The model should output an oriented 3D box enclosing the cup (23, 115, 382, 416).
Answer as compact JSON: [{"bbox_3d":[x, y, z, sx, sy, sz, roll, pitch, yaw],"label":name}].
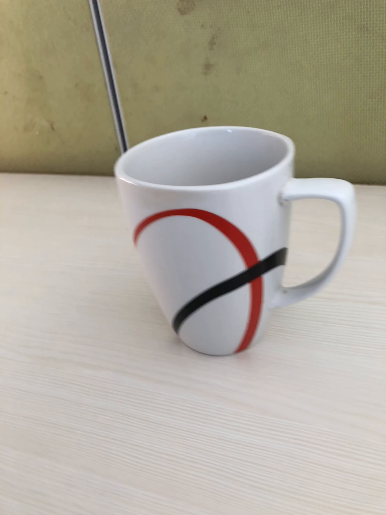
[{"bbox_3d":[0.009,-0.010,0.223,0.140,0.099,0.091,11,35,29],"label":"cup"}]
